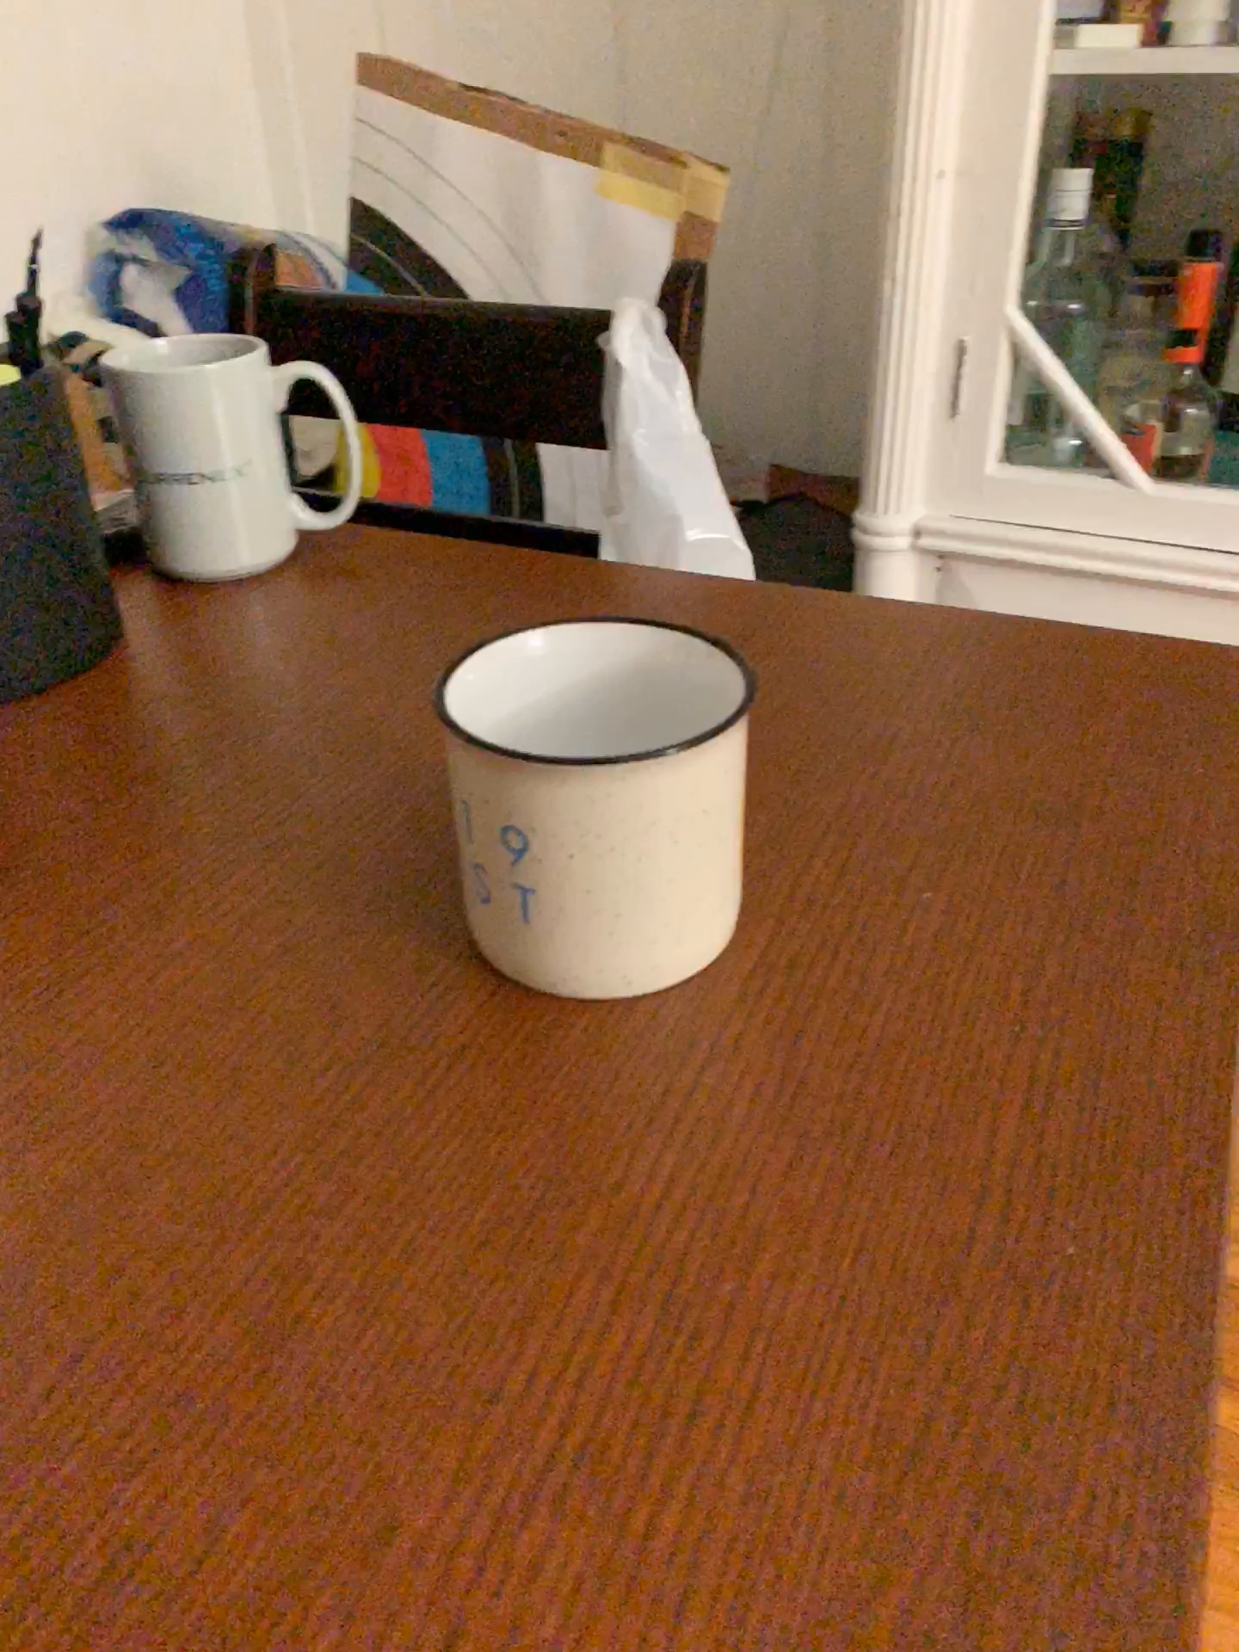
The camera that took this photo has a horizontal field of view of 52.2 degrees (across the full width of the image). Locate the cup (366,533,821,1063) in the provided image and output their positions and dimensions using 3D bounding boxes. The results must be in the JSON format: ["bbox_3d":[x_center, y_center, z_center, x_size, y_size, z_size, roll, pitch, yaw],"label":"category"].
[{"bbox_3d":[-0.015,-0.019,0.423,0.100,0.099,0.151,-12,33,-16],"label":"cup"}]
